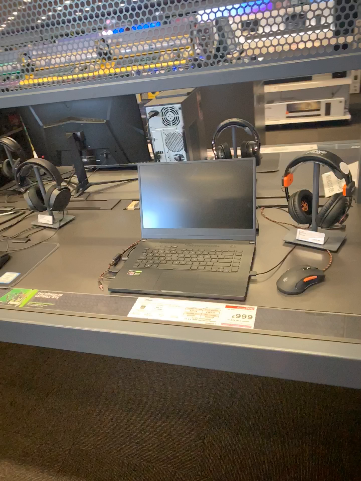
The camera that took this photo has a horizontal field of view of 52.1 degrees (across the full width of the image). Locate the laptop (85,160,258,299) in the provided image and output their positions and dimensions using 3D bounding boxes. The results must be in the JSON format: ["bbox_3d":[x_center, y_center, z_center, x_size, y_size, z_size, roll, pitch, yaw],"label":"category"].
[{"bbox_3d":[0.007,-0.048,0.969,0.348,0.203,0.326,2,32,17],"label":"laptop"}]
